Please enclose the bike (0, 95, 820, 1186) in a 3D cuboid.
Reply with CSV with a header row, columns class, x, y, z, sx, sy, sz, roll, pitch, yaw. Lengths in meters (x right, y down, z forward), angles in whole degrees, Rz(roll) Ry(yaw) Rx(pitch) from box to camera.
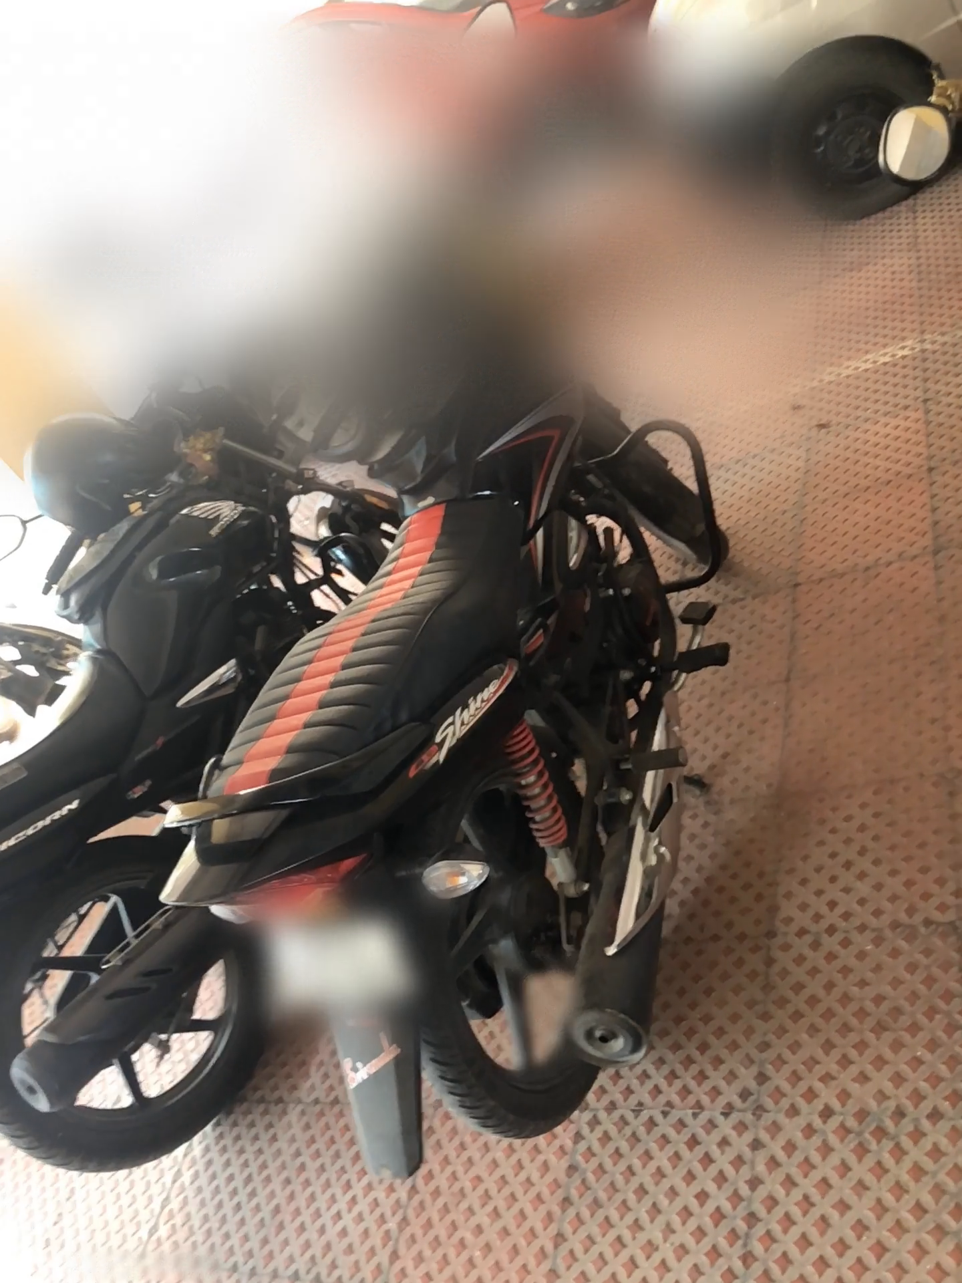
class,x,y,z,sx,sy,sz,roll,pitch,yaw
bike,-0.066,-0.090,1.855,0.747,1.011,1.560,-21,34,25
